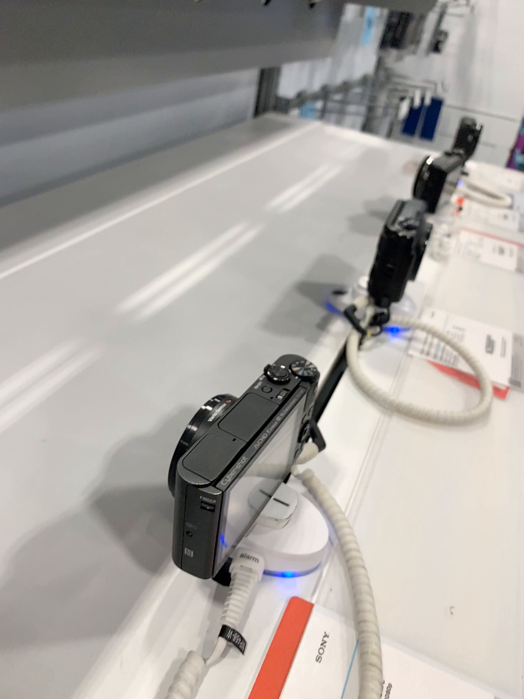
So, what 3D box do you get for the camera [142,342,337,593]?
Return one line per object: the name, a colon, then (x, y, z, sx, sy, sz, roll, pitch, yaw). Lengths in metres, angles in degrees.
camera: (-0.007, 0.048, 0.256, 0.040, 0.052, 0.104, 22, 35, 18)
